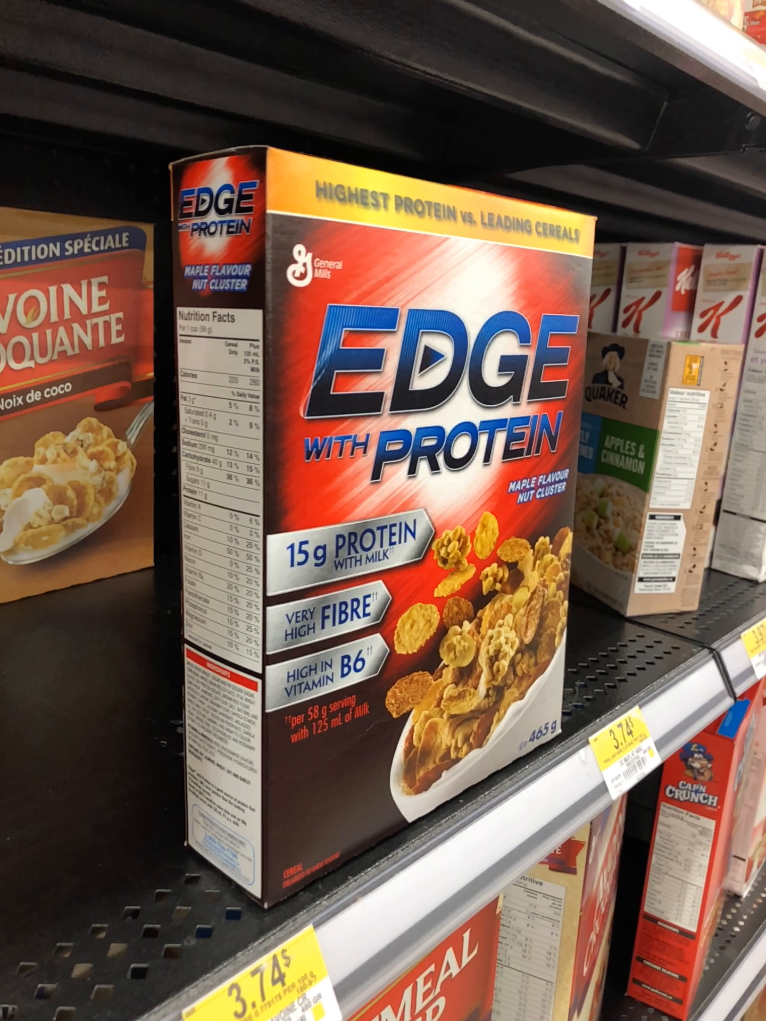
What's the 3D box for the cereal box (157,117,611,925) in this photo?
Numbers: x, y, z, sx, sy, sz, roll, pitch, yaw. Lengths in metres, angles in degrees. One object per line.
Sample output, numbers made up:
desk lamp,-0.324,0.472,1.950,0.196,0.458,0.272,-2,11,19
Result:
cereal box,0.010,-0.003,0.367,0.060,0.269,0.200,13,16,43
